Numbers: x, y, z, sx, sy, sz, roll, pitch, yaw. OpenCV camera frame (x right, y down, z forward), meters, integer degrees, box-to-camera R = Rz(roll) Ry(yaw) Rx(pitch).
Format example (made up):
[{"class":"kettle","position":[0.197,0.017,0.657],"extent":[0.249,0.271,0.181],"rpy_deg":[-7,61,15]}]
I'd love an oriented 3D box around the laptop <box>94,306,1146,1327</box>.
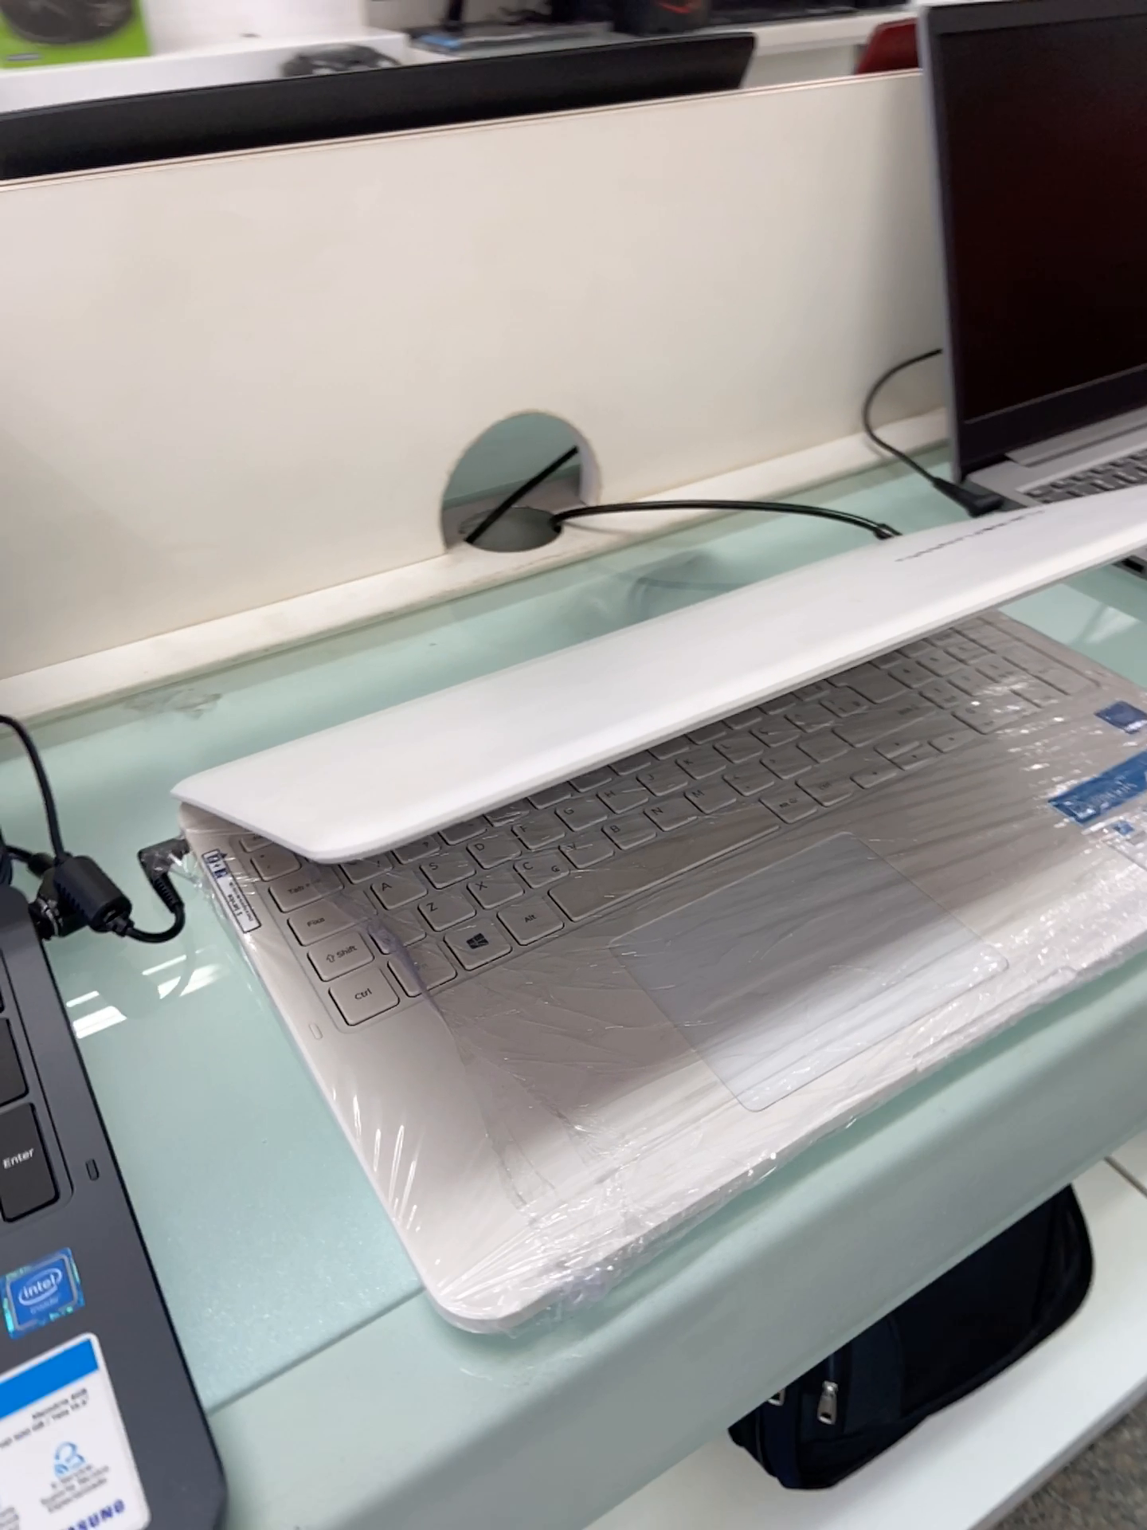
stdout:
[{"class":"laptop","position":[0.067,-0.037,0.418],"extent":[0.373,0.129,0.248],"rpy_deg":[-21,41,-25]}]
